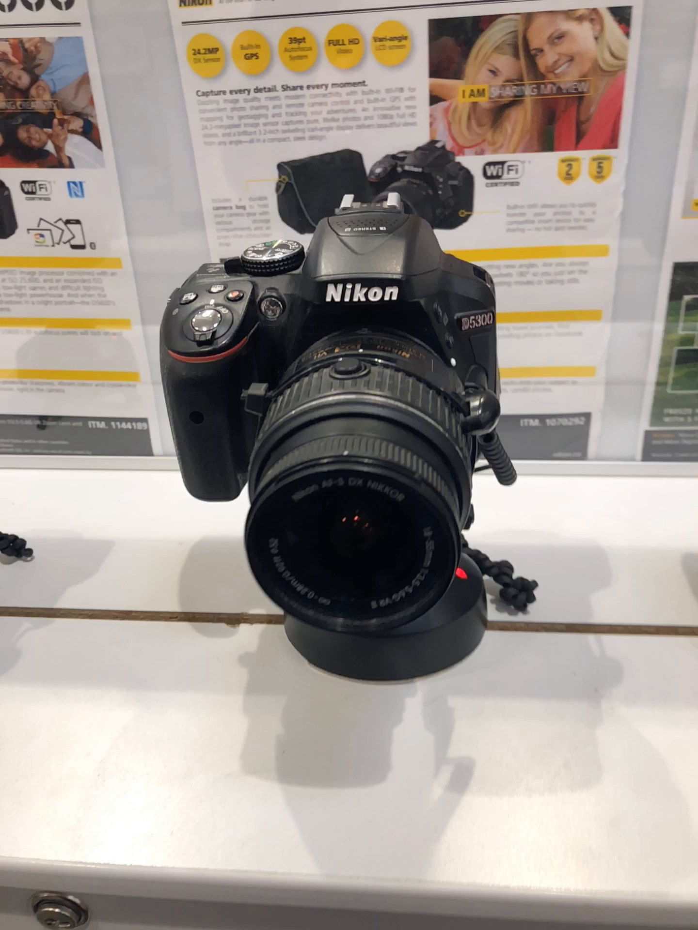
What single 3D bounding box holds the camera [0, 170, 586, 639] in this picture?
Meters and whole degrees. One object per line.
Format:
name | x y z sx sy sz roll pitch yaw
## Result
camera | -0.010 -0.032 0.250 0.130 0.089 0.151 0 31 4
